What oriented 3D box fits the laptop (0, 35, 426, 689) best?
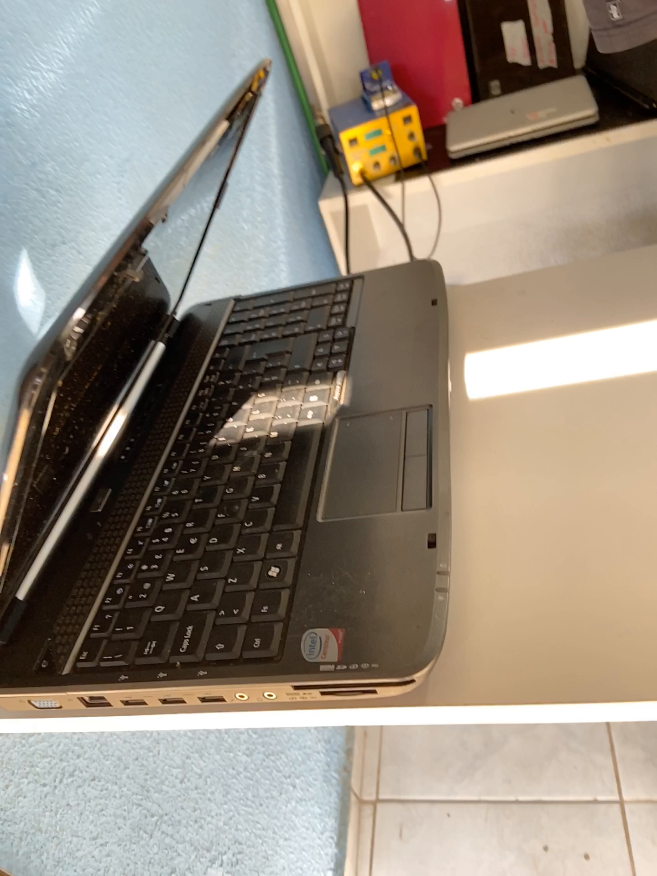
[{"bbox_3d":[-0.079,-0.074,0.409,0.235,0.174,0.380,-10,38,16],"label":"laptop"}]
